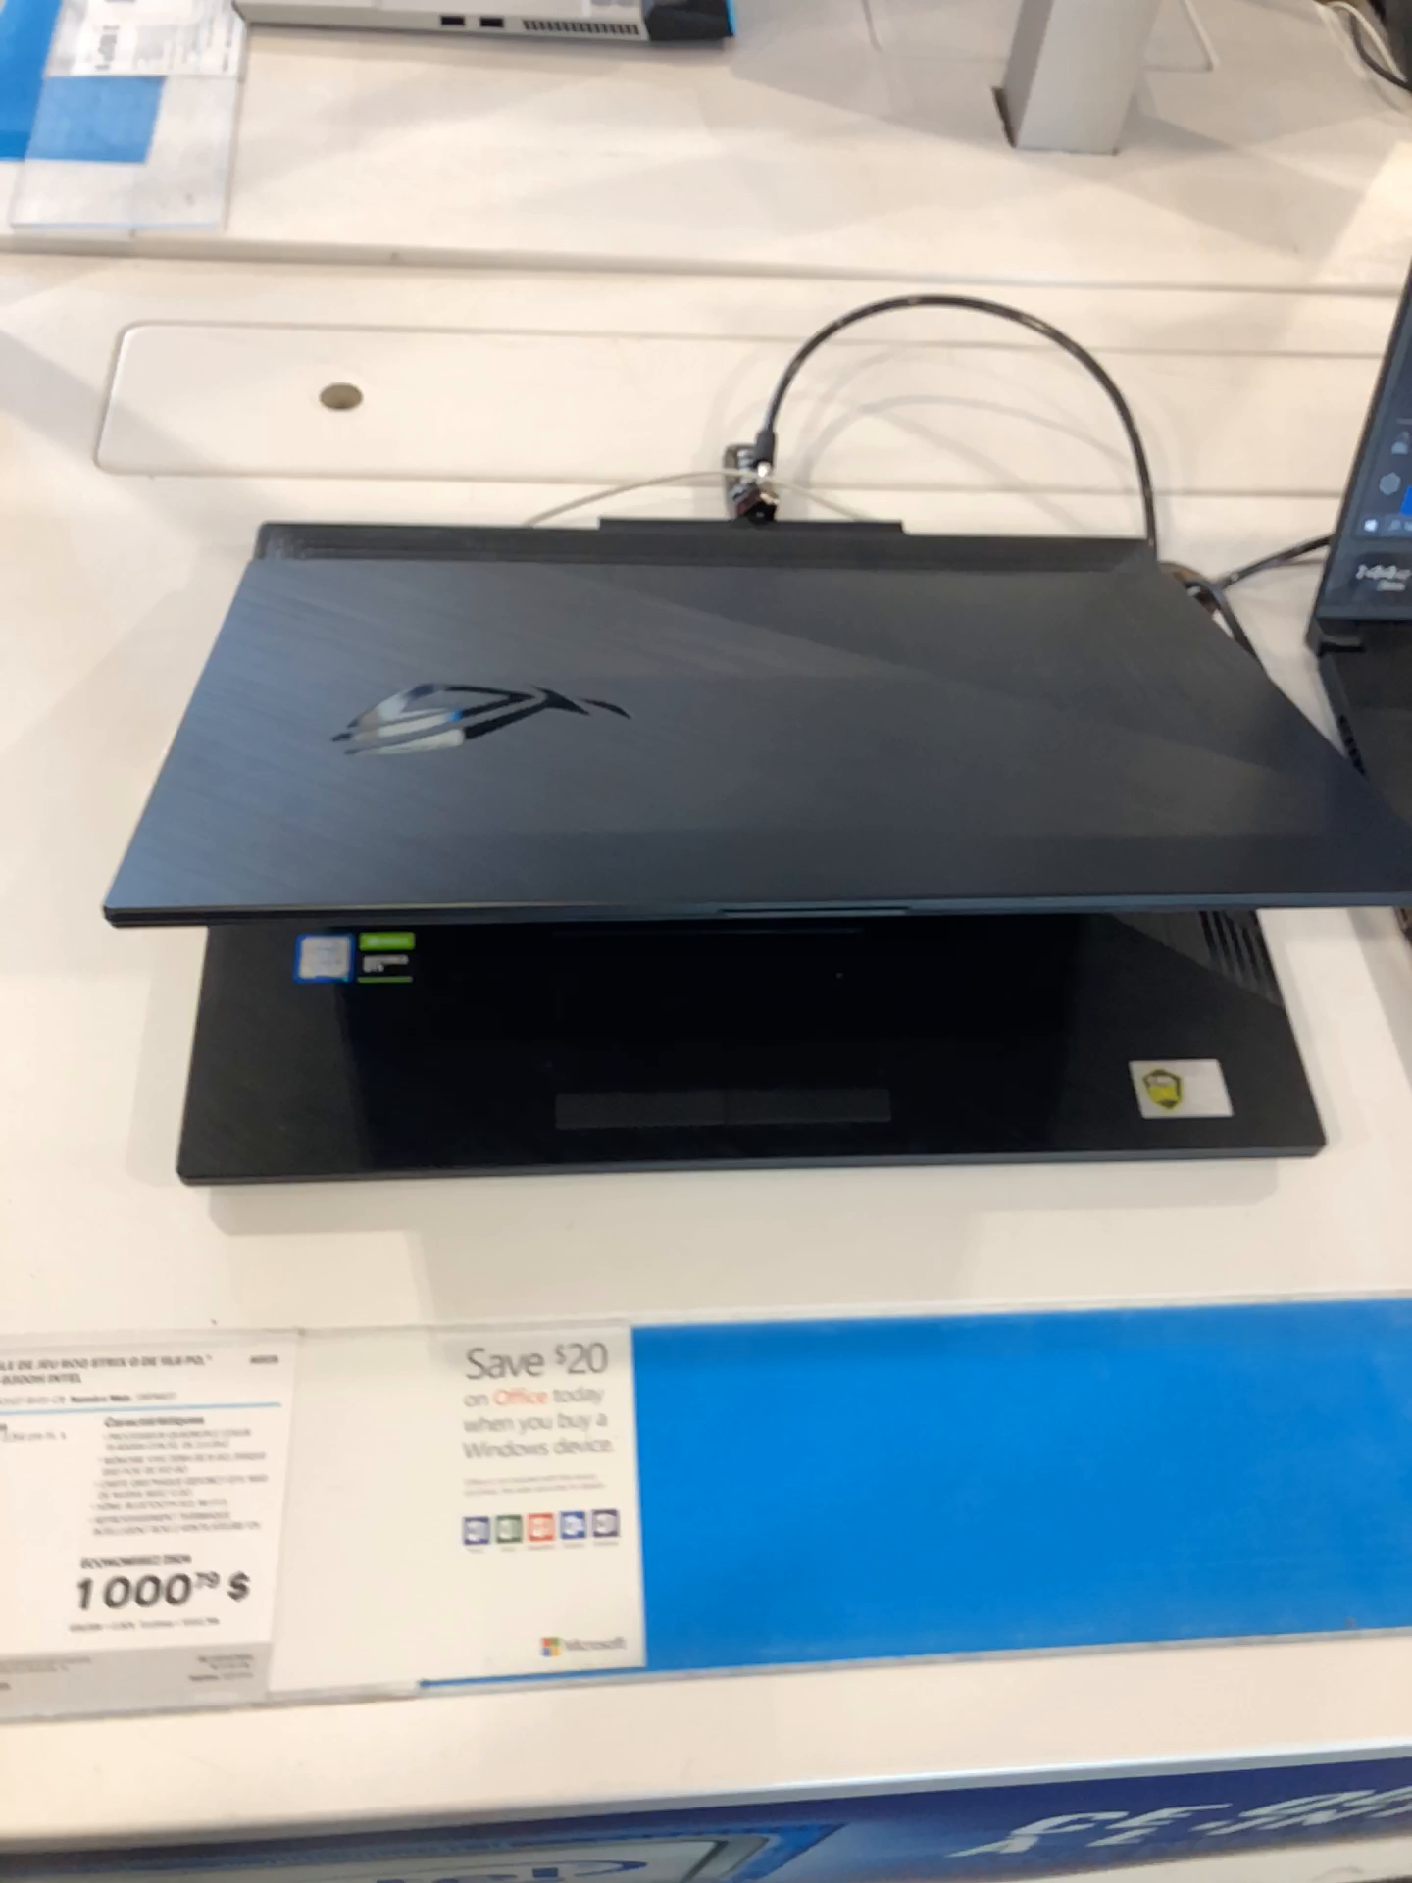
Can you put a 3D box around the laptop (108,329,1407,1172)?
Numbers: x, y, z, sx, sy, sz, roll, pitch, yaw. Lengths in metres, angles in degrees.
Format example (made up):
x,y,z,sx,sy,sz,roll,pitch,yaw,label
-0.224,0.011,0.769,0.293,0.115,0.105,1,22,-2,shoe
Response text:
x,y,z,sx,sy,sz,roll,pitch,yaw,label
0.009,-0.073,0.508,0.331,0.097,0.263,-1,58,-4,laptop
